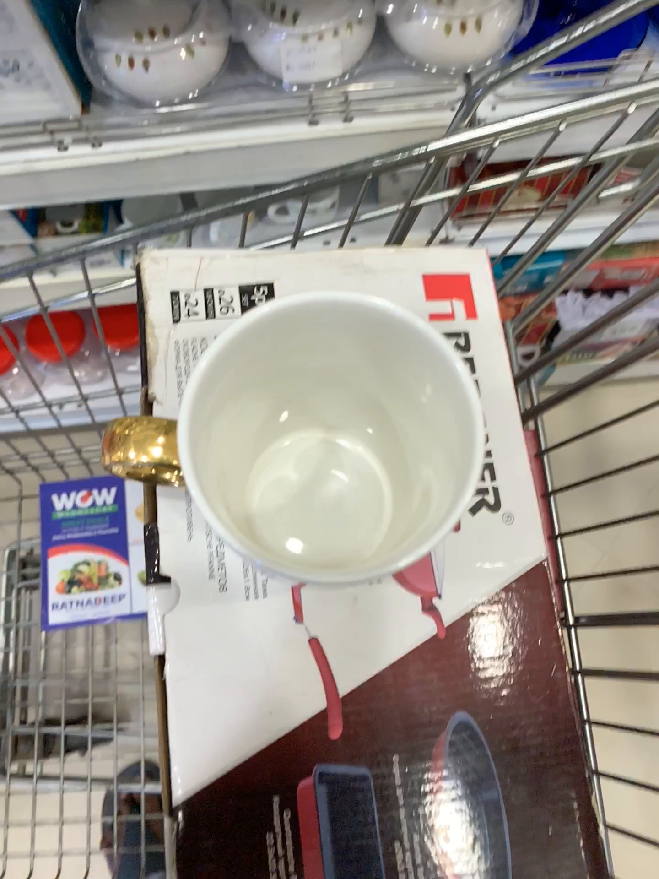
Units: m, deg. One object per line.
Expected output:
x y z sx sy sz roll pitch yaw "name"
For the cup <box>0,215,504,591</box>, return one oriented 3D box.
-0.019 -0.001 0.198 0.110 0.090 0.070 9 76 2 "cup"
